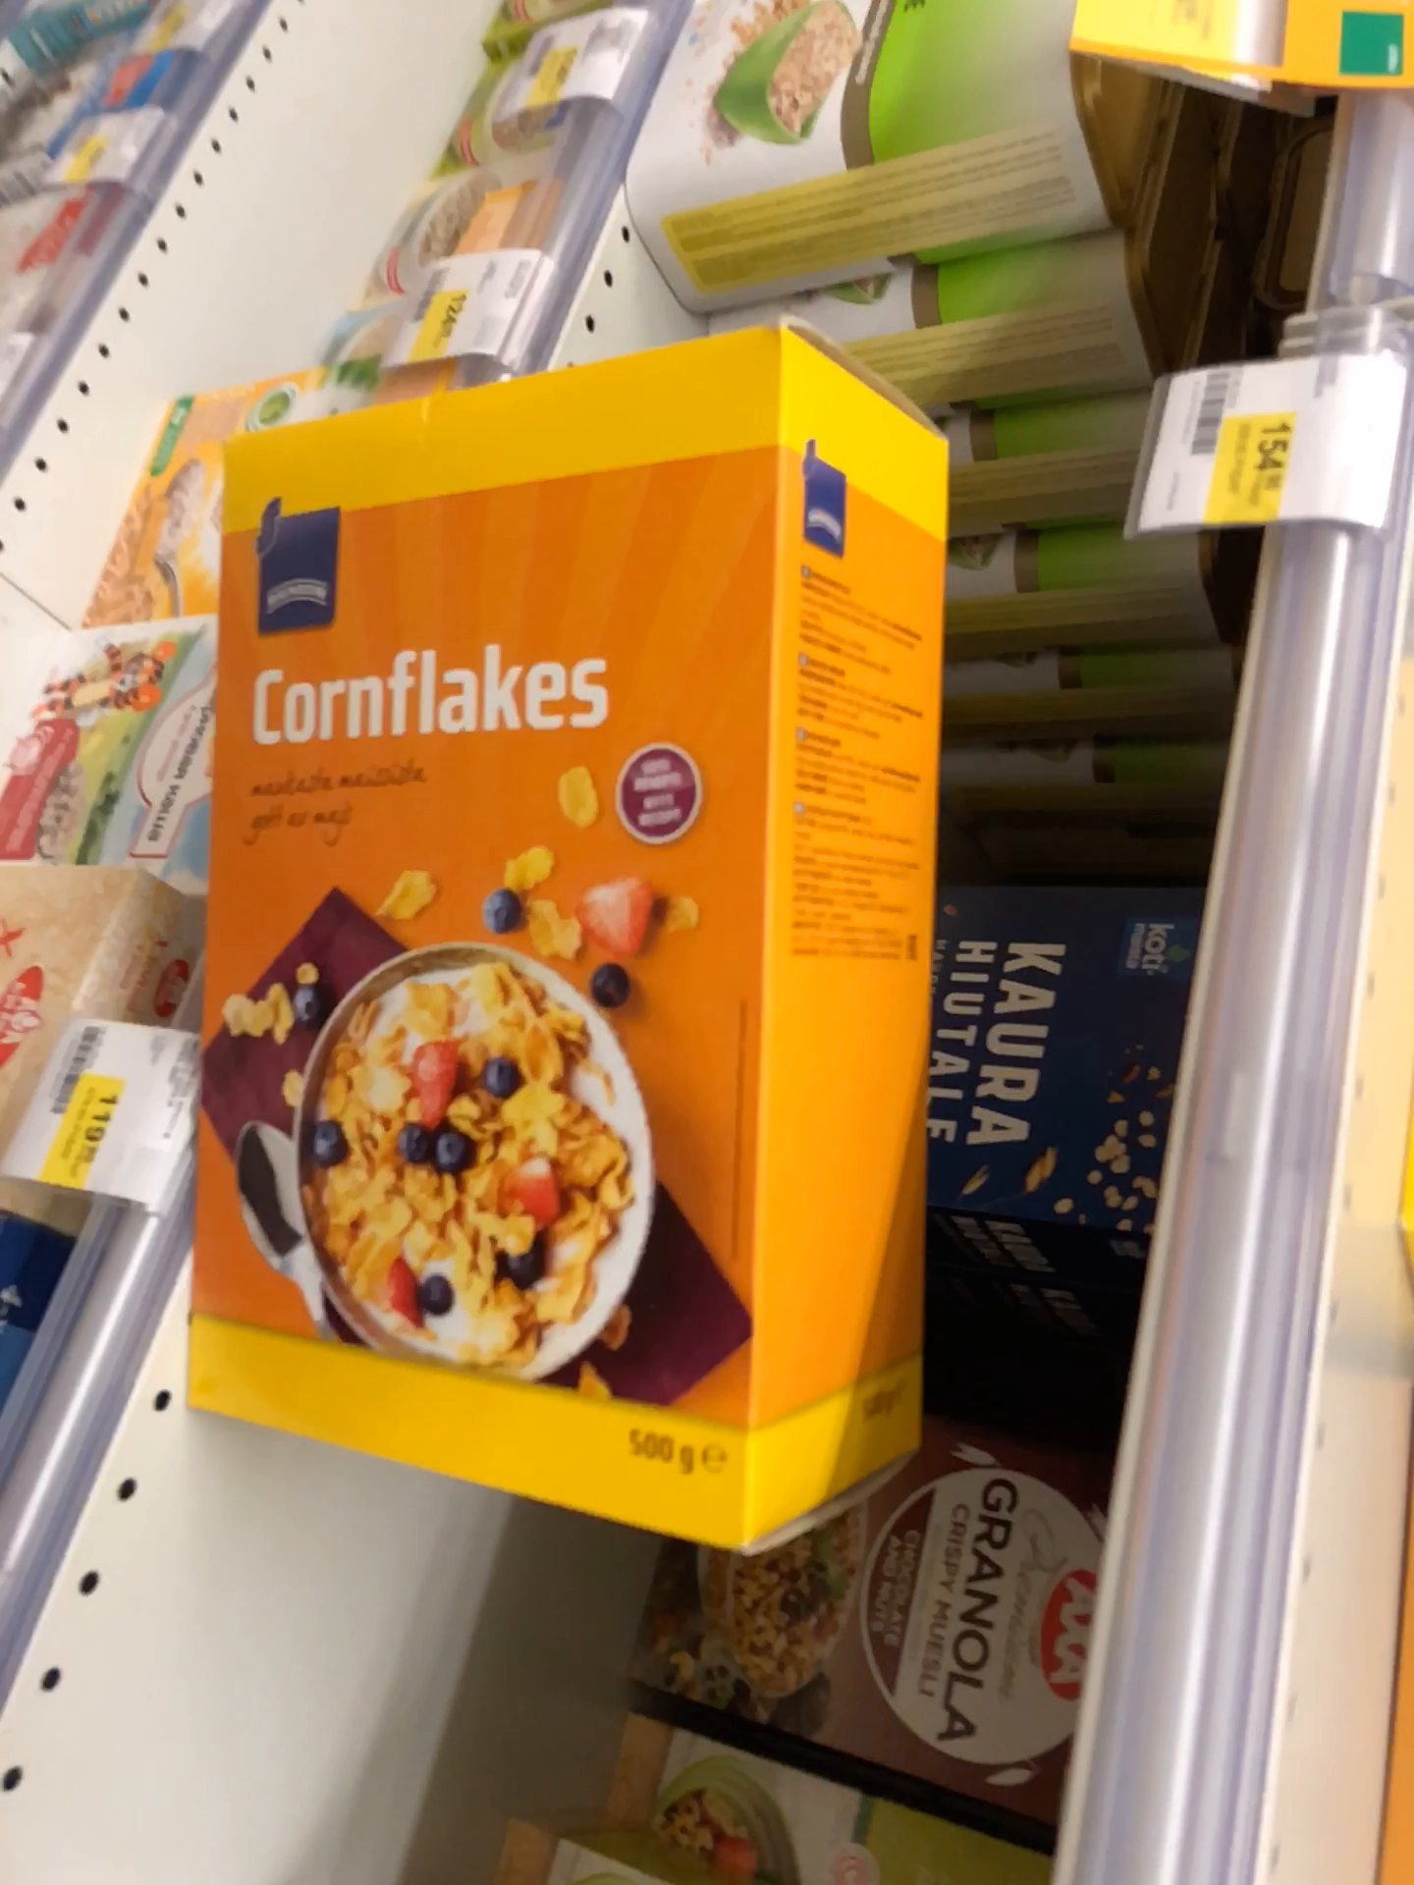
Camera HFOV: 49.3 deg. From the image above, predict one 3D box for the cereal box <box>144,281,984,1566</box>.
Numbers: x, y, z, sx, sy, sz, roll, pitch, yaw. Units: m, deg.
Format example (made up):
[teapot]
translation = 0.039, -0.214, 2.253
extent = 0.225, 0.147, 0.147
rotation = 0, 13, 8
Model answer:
[cereal box]
translation = -0.041, -0.007, 0.450
extent = 0.121, 0.199, 0.290
rotation = 3, 89, -59
